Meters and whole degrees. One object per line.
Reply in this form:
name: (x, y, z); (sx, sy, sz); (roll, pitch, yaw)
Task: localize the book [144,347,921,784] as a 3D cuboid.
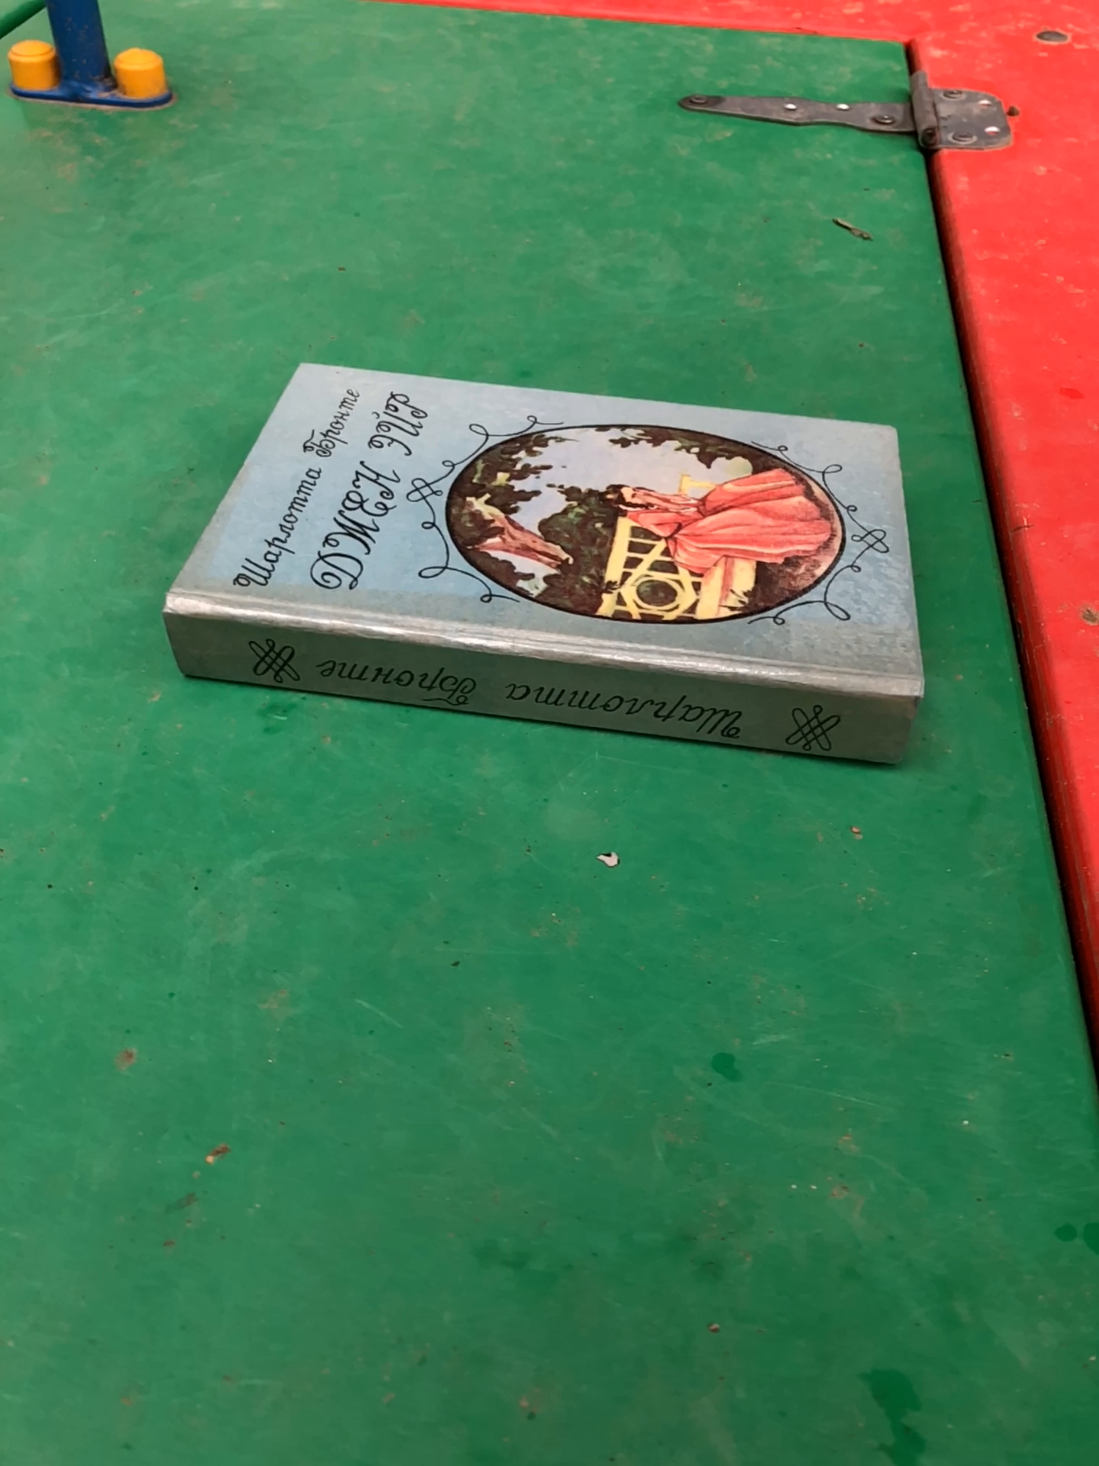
book: (0.002, -0.057, 0.361); (0.196, 0.030, 0.136); (7, 45, 3)
